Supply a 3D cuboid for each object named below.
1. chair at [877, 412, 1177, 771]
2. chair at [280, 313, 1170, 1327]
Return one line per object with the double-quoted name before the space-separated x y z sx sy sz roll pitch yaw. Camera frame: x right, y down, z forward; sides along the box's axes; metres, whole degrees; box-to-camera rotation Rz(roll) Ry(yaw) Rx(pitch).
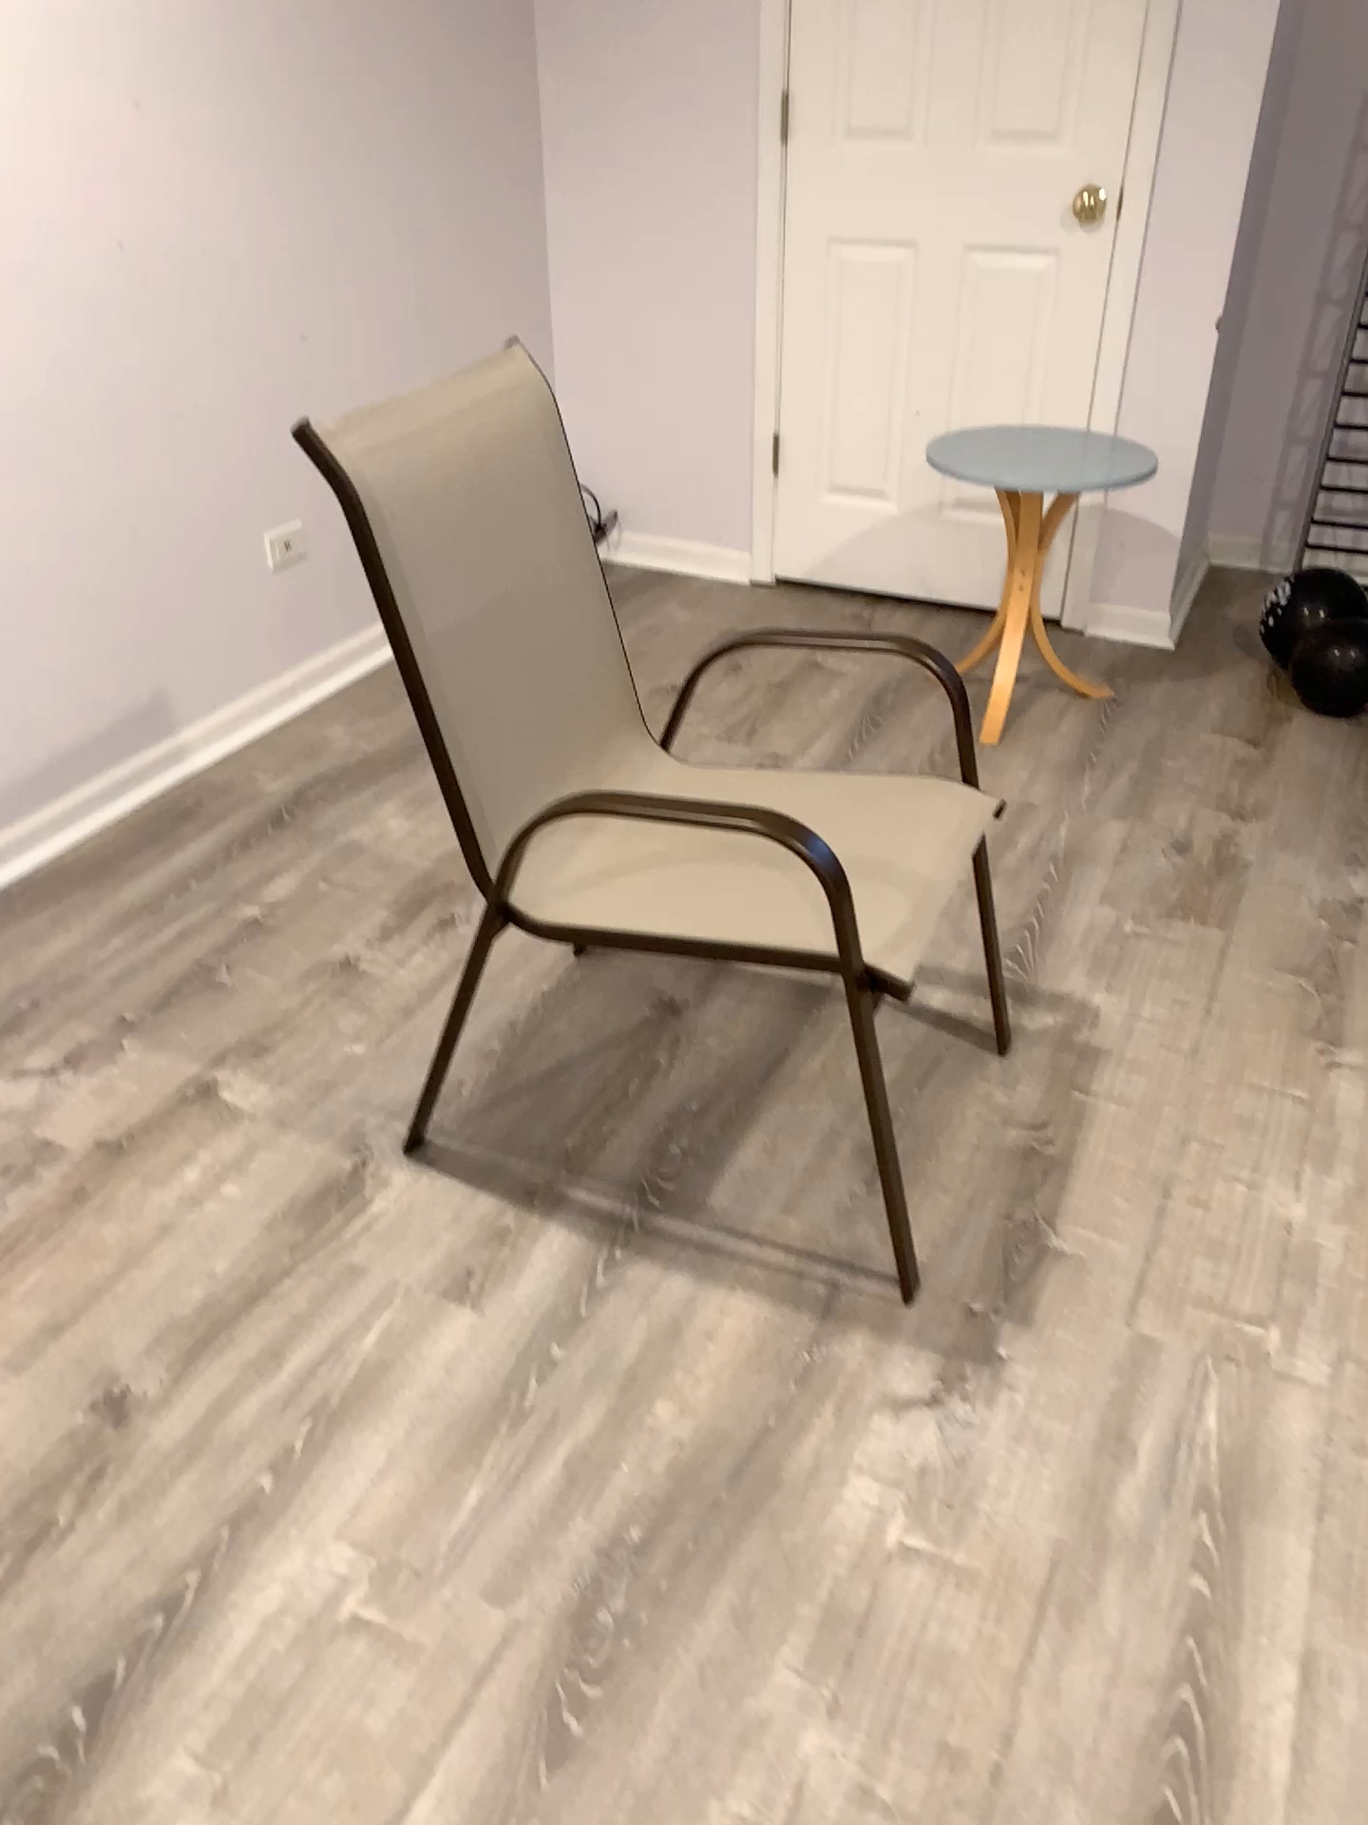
"chair" 0.664 -0.638 2.705 0.434 0.527 0.427 12 33 19
"chair" 0.073 -0.147 1.583 0.715 0.873 0.569 12 33 19
